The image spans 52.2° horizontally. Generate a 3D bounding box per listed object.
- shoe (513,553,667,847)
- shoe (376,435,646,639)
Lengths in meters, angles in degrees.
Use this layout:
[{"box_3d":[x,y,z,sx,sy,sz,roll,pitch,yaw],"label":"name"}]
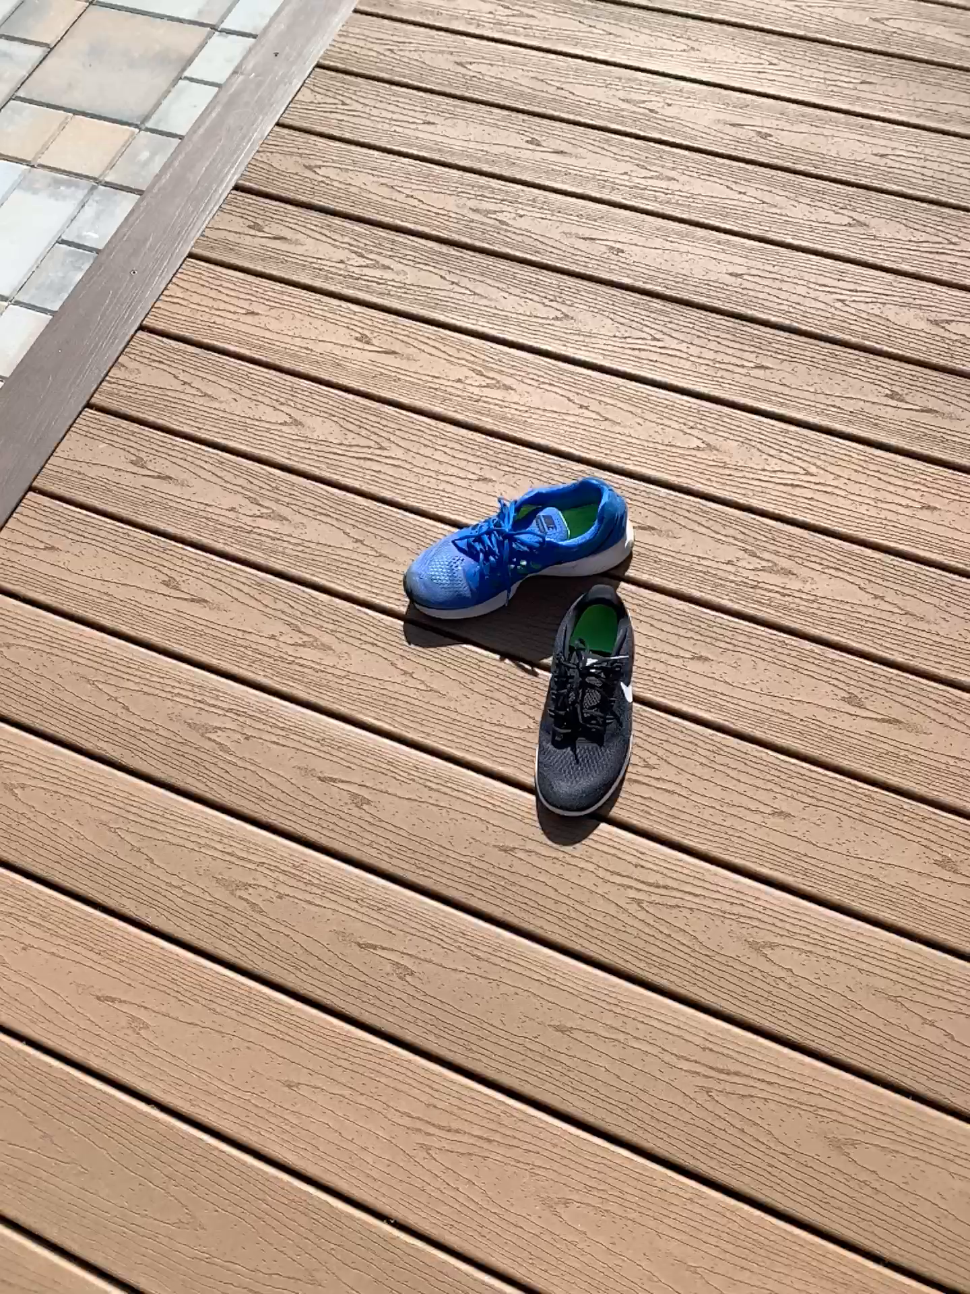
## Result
[{"box_3d":[0.119,0.056,1.096,0.120,0.110,0.290,9,66,8],"label":"shoe"},{"box_3d":[0.033,-0.132,1.205,0.290,0.130,0.120,-17,65,-4],"label":"shoe"}]
